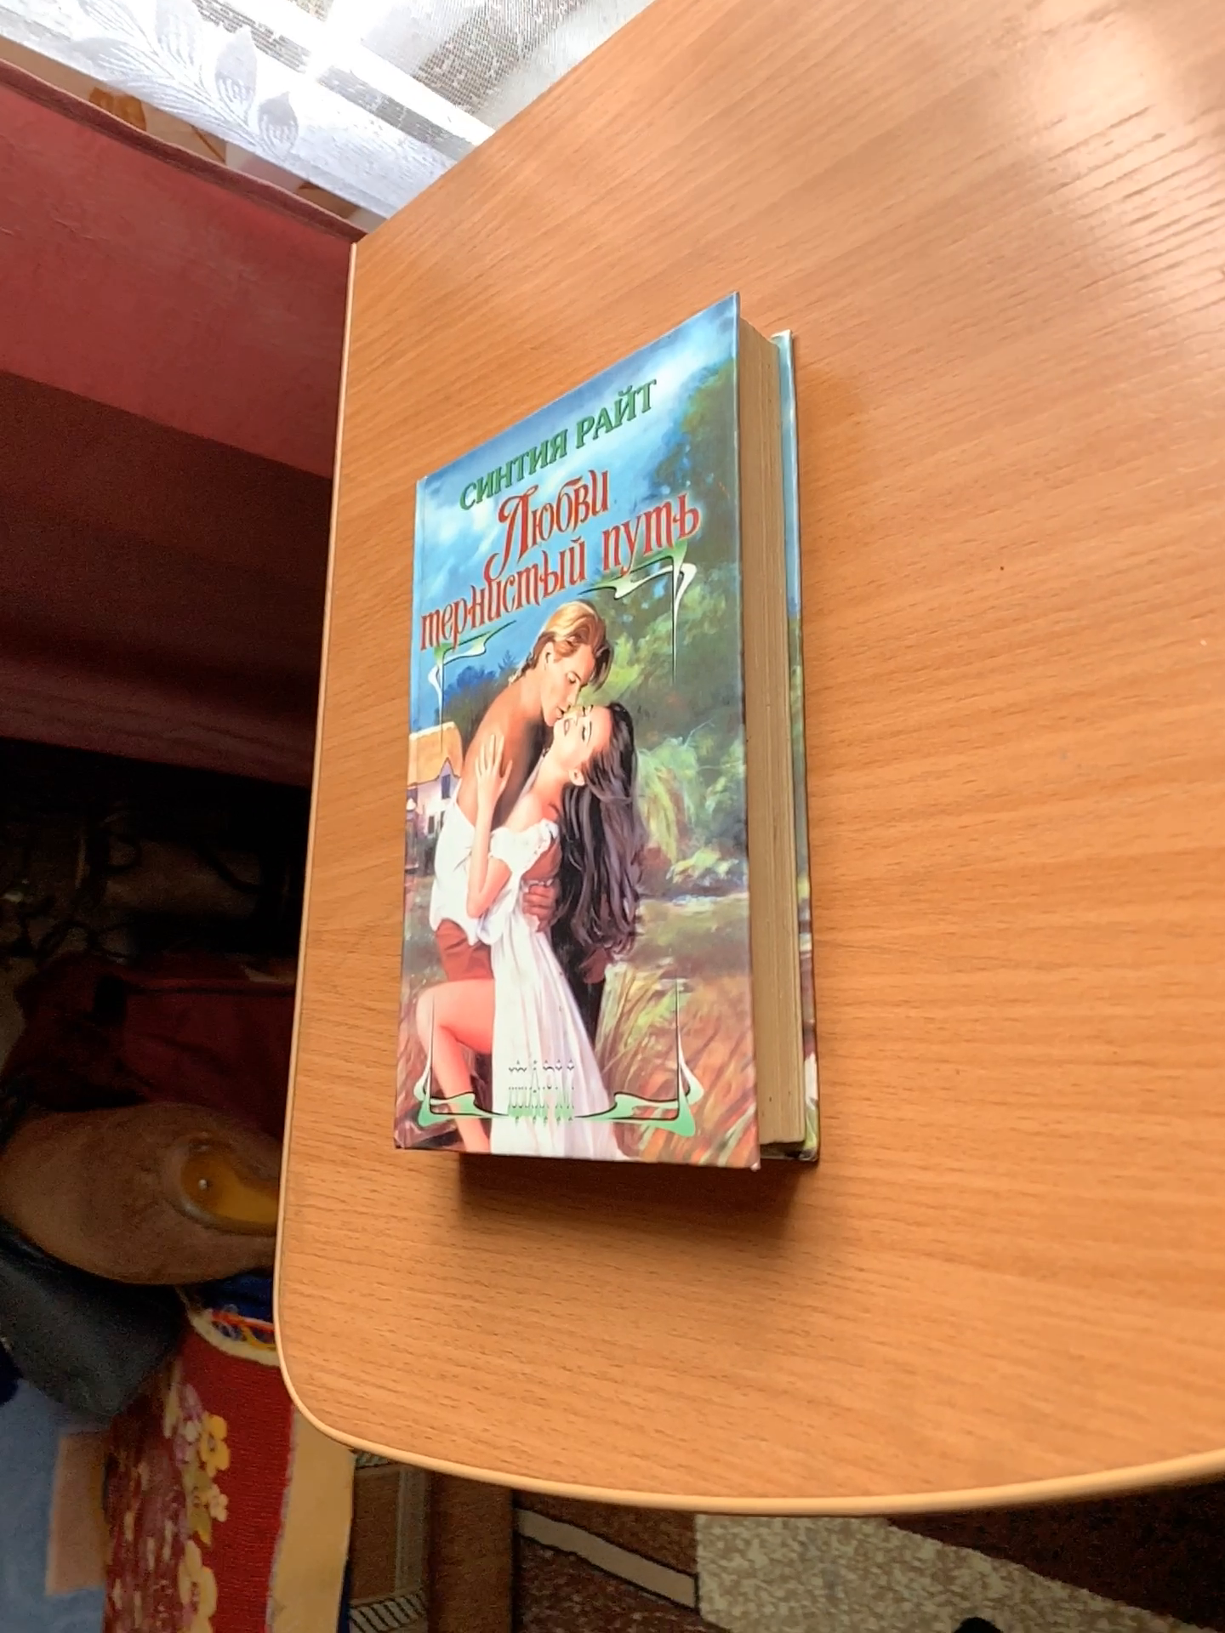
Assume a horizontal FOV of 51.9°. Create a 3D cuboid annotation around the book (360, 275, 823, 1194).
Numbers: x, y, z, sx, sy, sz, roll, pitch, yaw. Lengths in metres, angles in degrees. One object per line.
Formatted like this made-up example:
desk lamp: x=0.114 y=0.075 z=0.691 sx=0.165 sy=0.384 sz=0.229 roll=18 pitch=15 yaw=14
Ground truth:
book: x=-0.013 y=-0.014 z=0.339 sx=0.141 sy=0.030 sz=0.210 roll=-12 pitch=74 yaw=45
